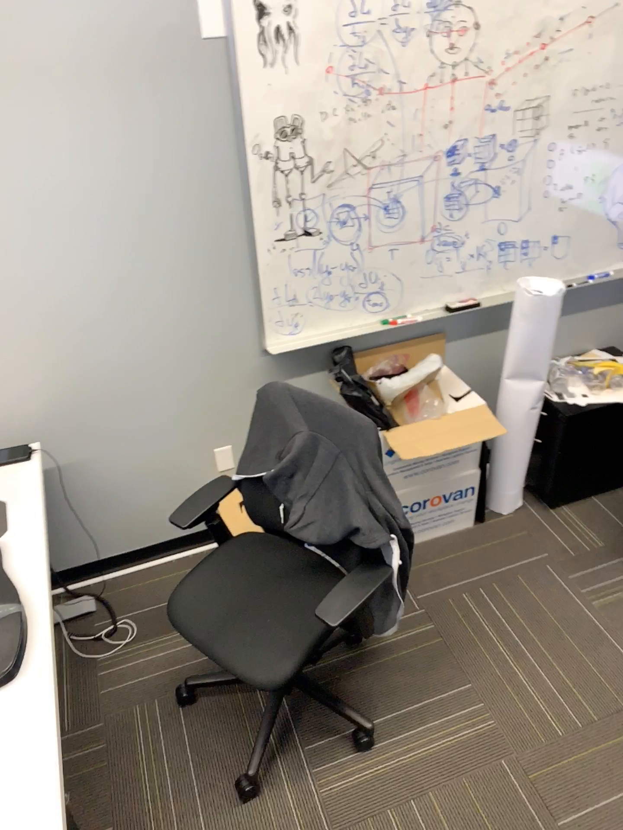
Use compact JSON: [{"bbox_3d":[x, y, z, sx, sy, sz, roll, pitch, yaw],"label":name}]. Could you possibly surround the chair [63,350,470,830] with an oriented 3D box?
[{"bbox_3d":[-0.105,0.500,1.930,0.730,0.994,0.774,-30,43,-33],"label":"chair"}]
